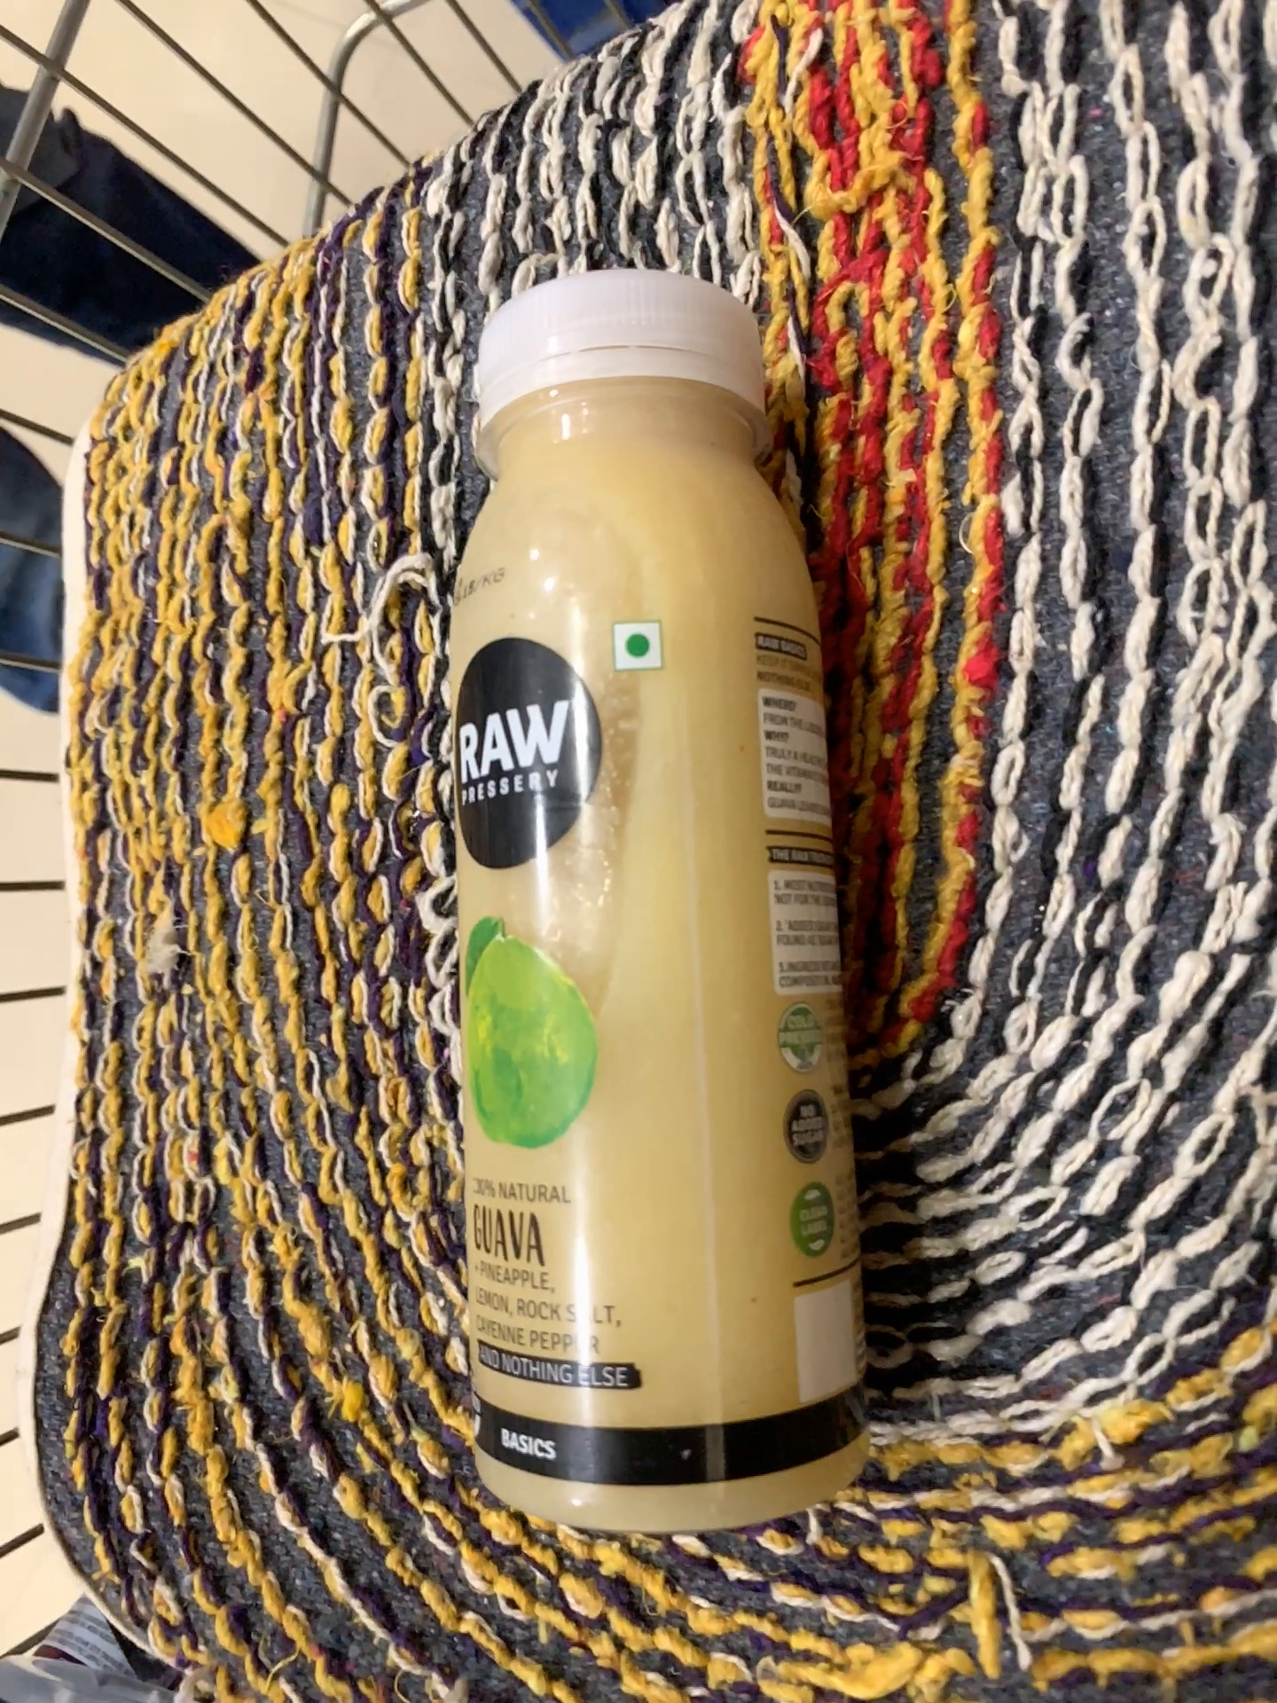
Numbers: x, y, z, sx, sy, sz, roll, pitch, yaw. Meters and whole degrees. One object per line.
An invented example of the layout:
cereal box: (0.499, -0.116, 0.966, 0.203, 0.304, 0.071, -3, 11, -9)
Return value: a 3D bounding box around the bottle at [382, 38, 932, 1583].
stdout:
bottle: (0.000, -0.006, 0.166, 0.050, 0.040, 0.160, -8, 79, 39)
